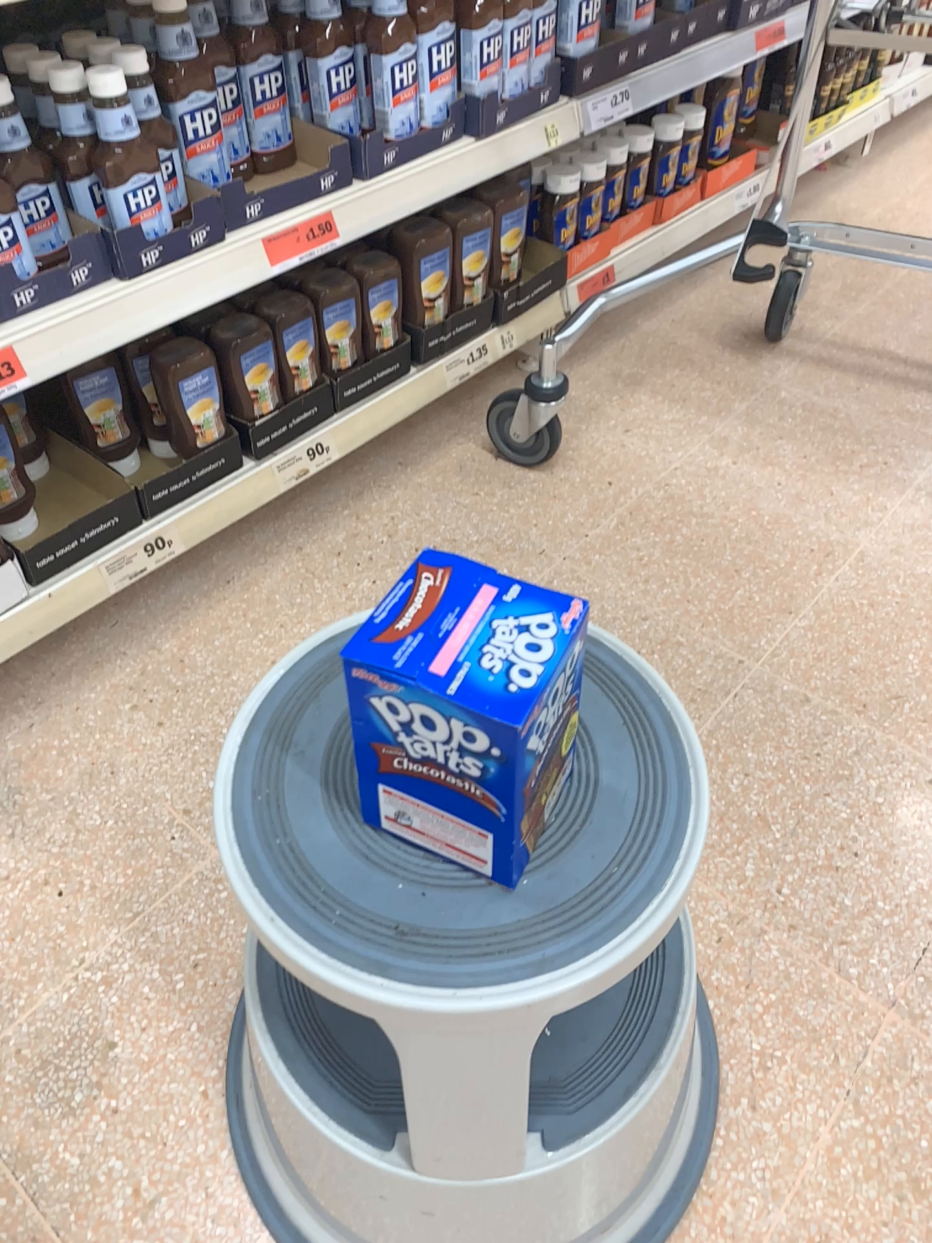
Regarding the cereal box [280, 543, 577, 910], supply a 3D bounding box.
[{"bbox_3d":[-0.017,0.057,0.511,0.110,0.139,0.101,20,49,17],"label":"cereal box"}]
